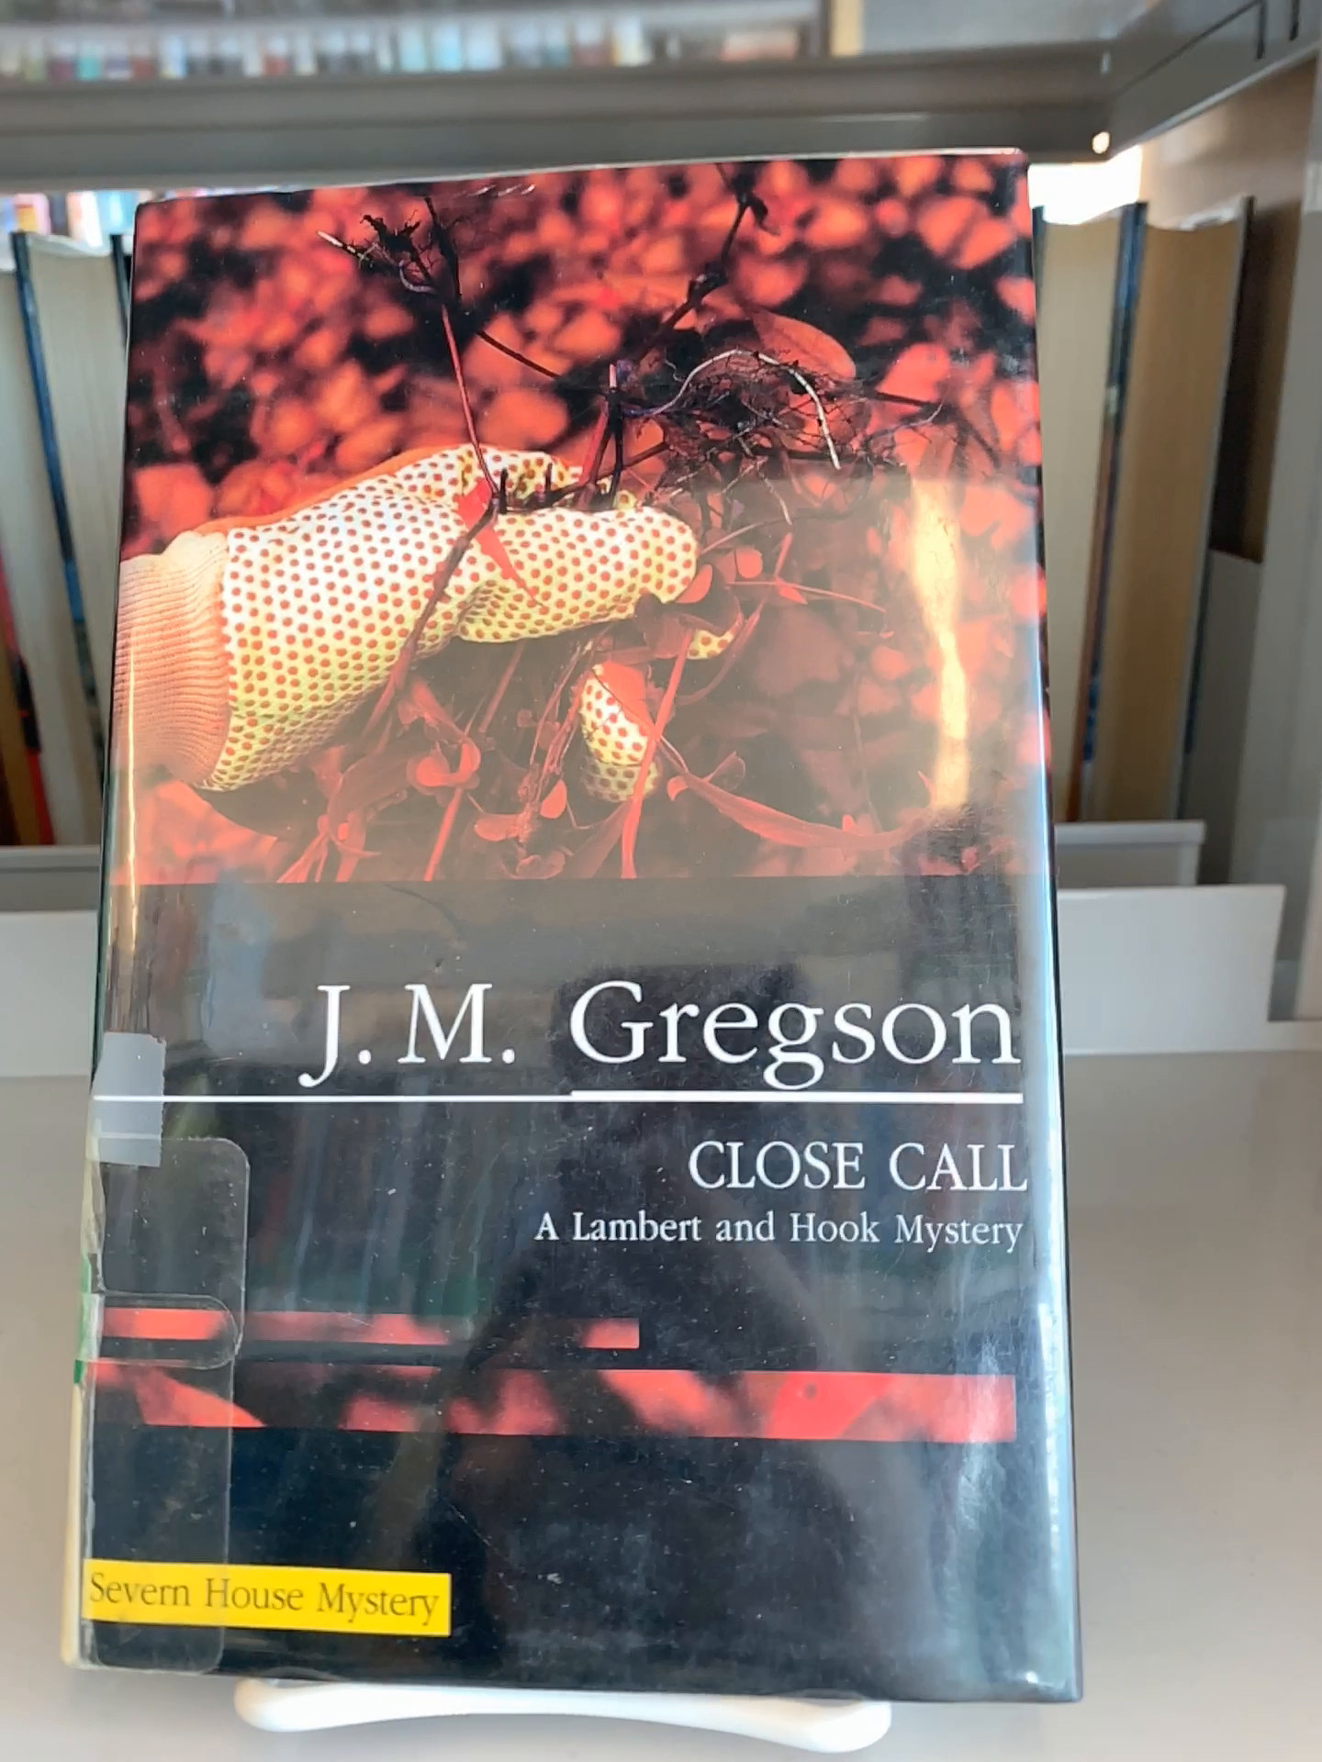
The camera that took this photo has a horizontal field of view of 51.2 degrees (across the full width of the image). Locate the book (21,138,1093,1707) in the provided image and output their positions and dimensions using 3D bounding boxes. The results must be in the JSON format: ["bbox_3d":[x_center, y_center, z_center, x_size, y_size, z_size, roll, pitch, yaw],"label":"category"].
[{"bbox_3d":[-0.015,0.002,0.203,0.140,0.208,0.030,-1,-6,5],"label":"book"}]
